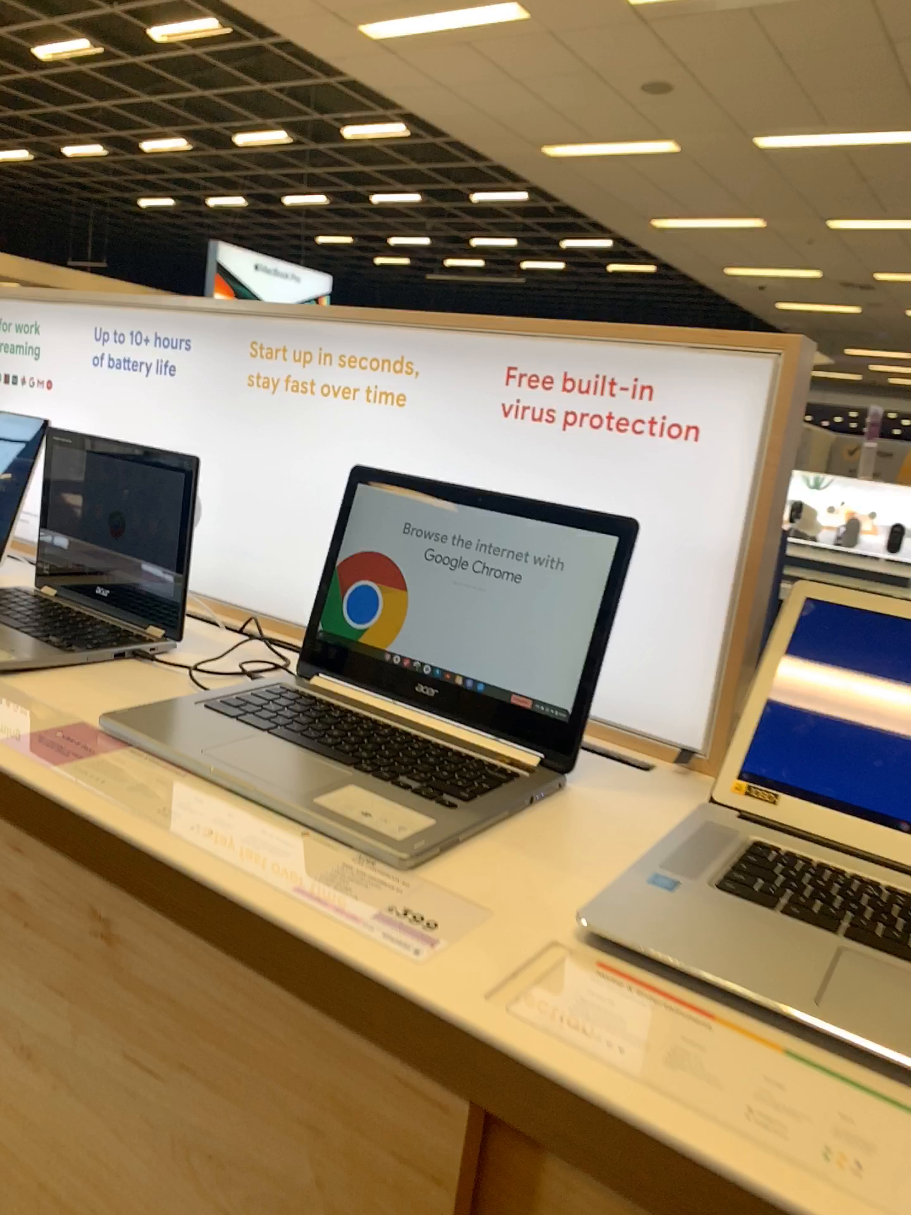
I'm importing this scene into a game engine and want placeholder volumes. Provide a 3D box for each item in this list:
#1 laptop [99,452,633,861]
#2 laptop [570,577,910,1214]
[{"bbox_3d":[-0.069,0.010,0.778,0.307,0.217,0.278,15,13,31],"label":"laptop"},{"bbox_3d":[0.351,0.119,0.621,0.376,0.175,0.426,14,13,30],"label":"laptop"}]
